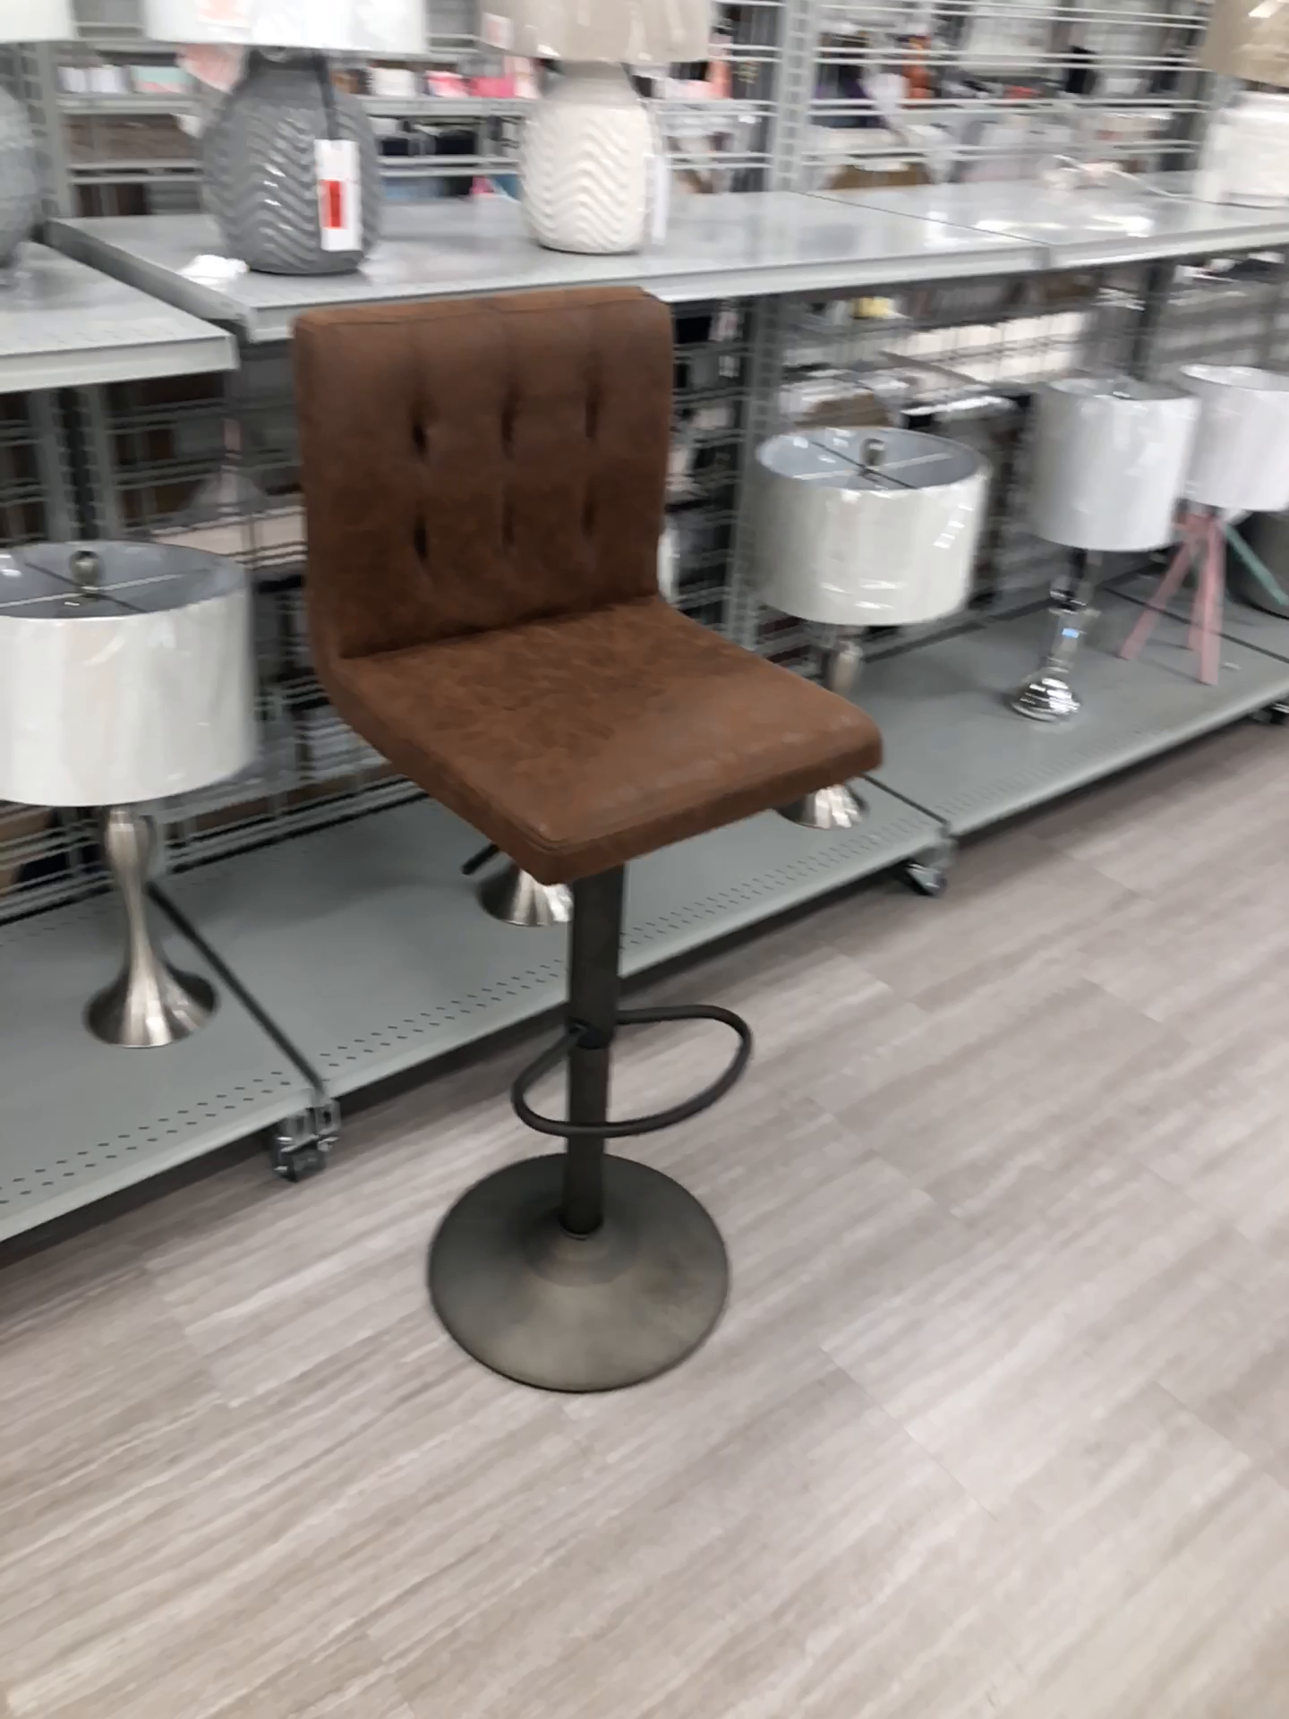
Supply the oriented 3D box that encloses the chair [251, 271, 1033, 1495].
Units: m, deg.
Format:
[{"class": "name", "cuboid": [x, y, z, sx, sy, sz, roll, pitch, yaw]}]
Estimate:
[{"class": "chair", "cuboid": [-0.038, 0.028, 1.480, 0.475, 1.102, 0.469, -20, 39, -33]}]
